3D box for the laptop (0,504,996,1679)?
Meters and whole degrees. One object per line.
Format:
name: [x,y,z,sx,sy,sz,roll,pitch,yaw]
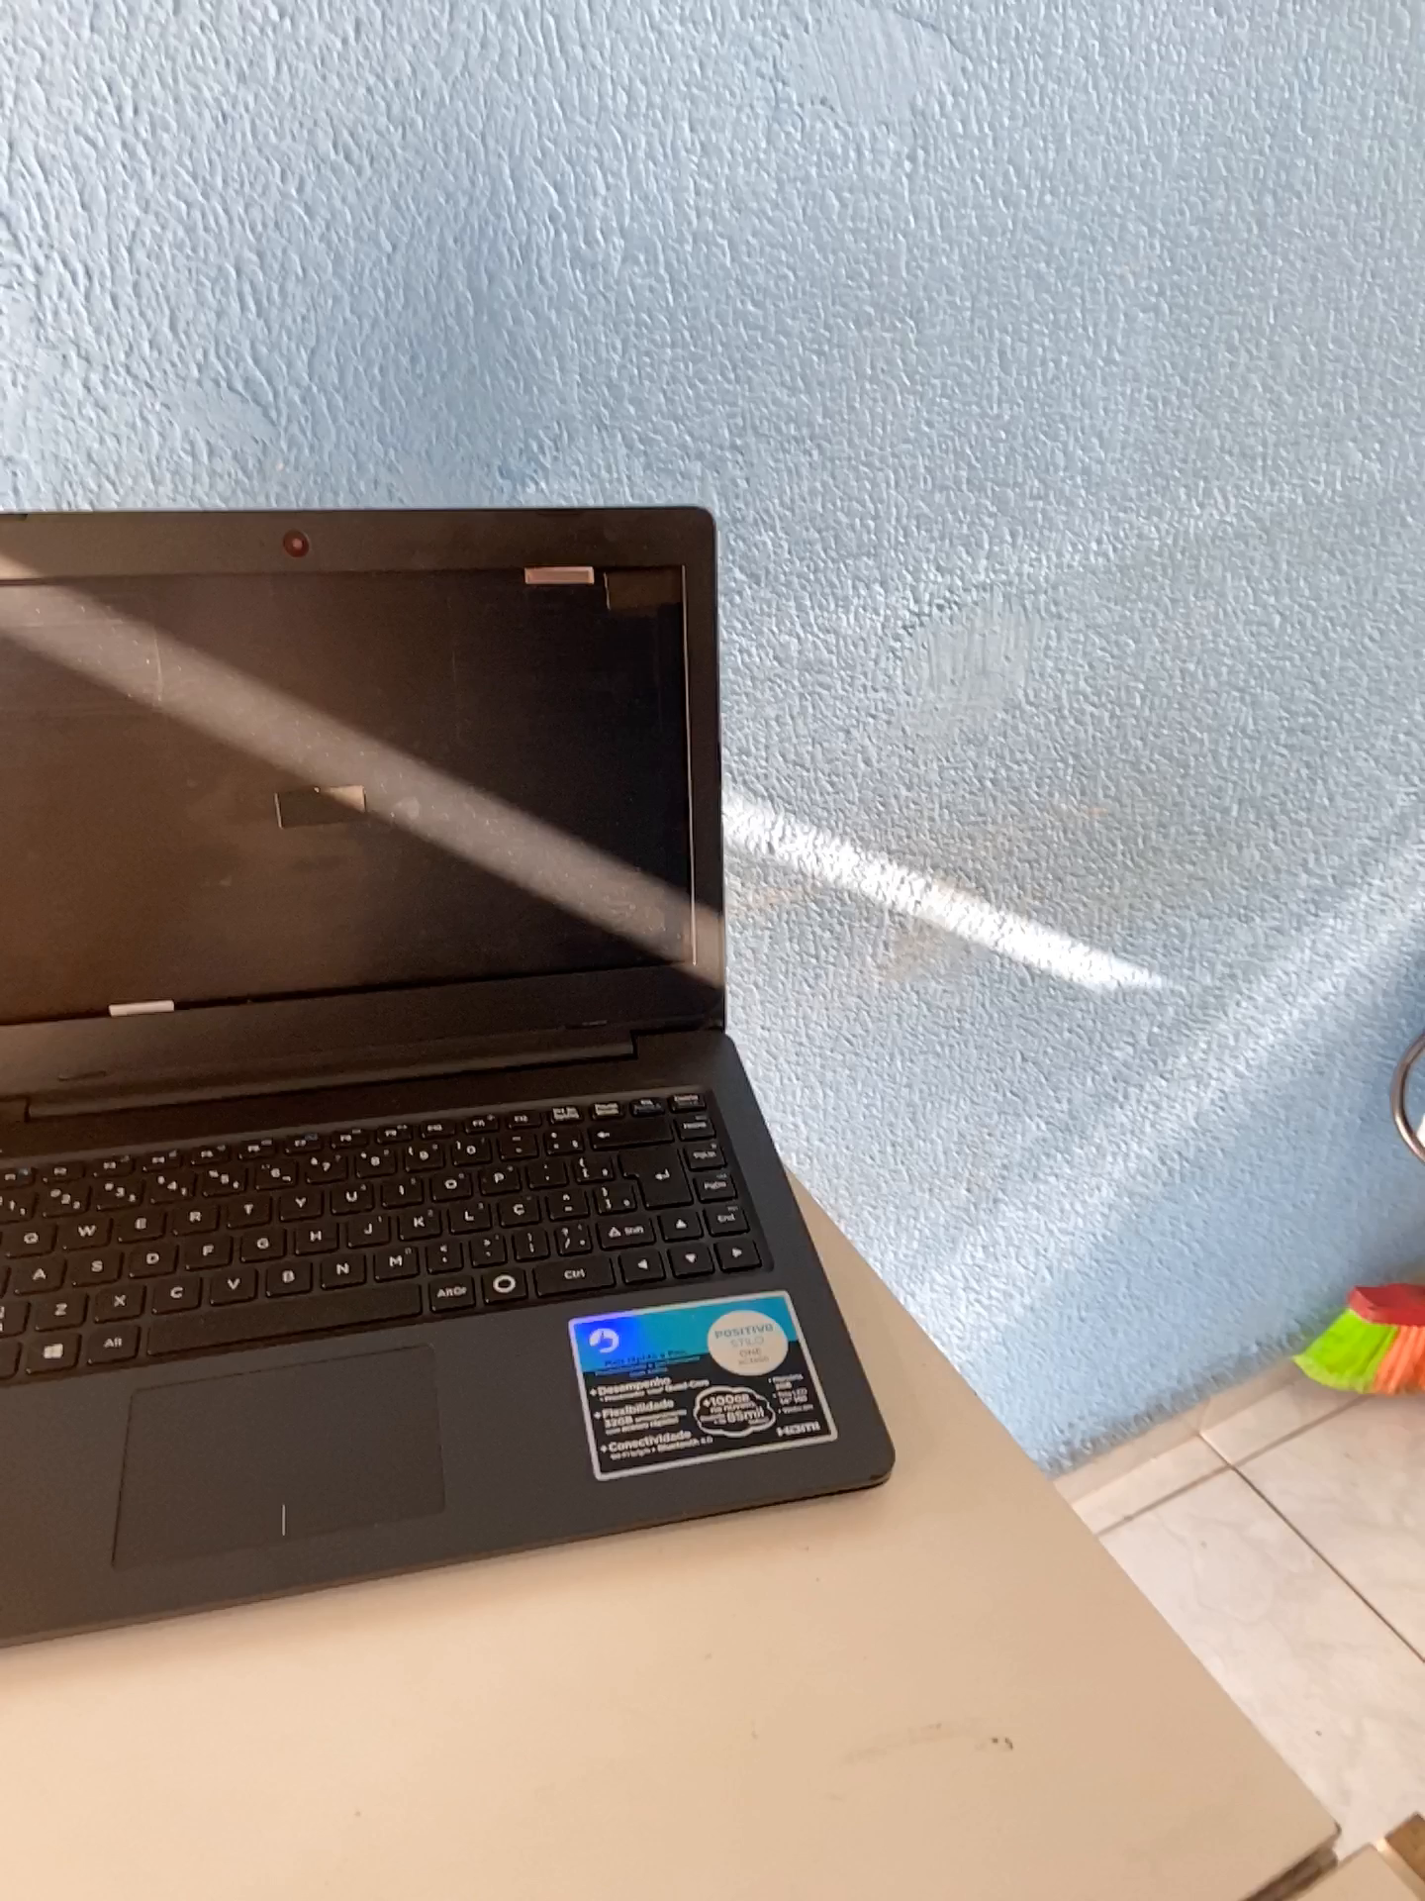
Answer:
laptop: [-0.133,0.005,0.503,0.338,0.214,0.311,-5,34,-13]
